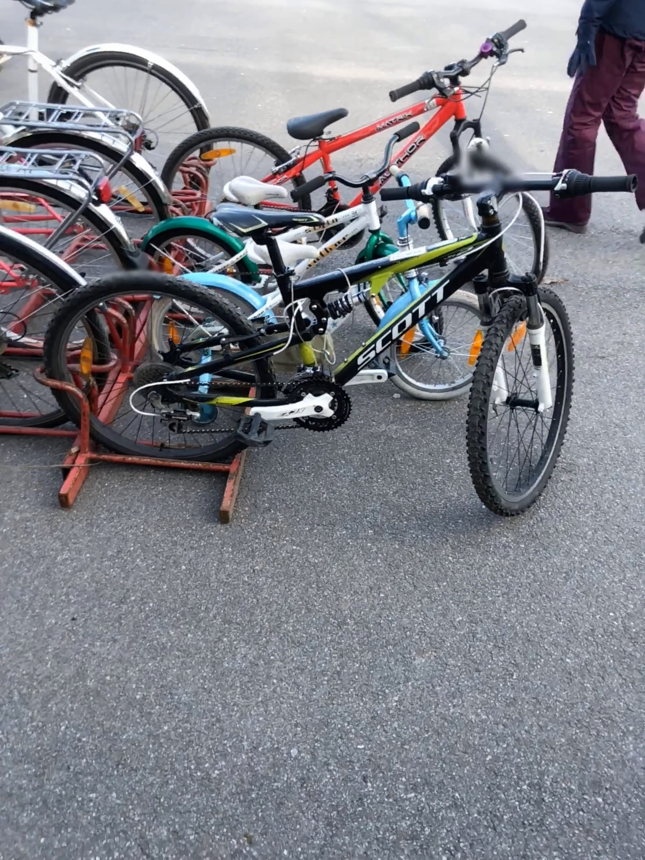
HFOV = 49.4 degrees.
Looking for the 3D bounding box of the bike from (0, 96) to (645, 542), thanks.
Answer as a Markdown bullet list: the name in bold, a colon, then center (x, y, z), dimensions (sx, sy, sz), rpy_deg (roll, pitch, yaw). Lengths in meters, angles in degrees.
- **bike**: center (0.006, -0.282, 1.743), dimensions (1.372, 0.901, 0.531), rpy_deg (-2, 37, -6)
